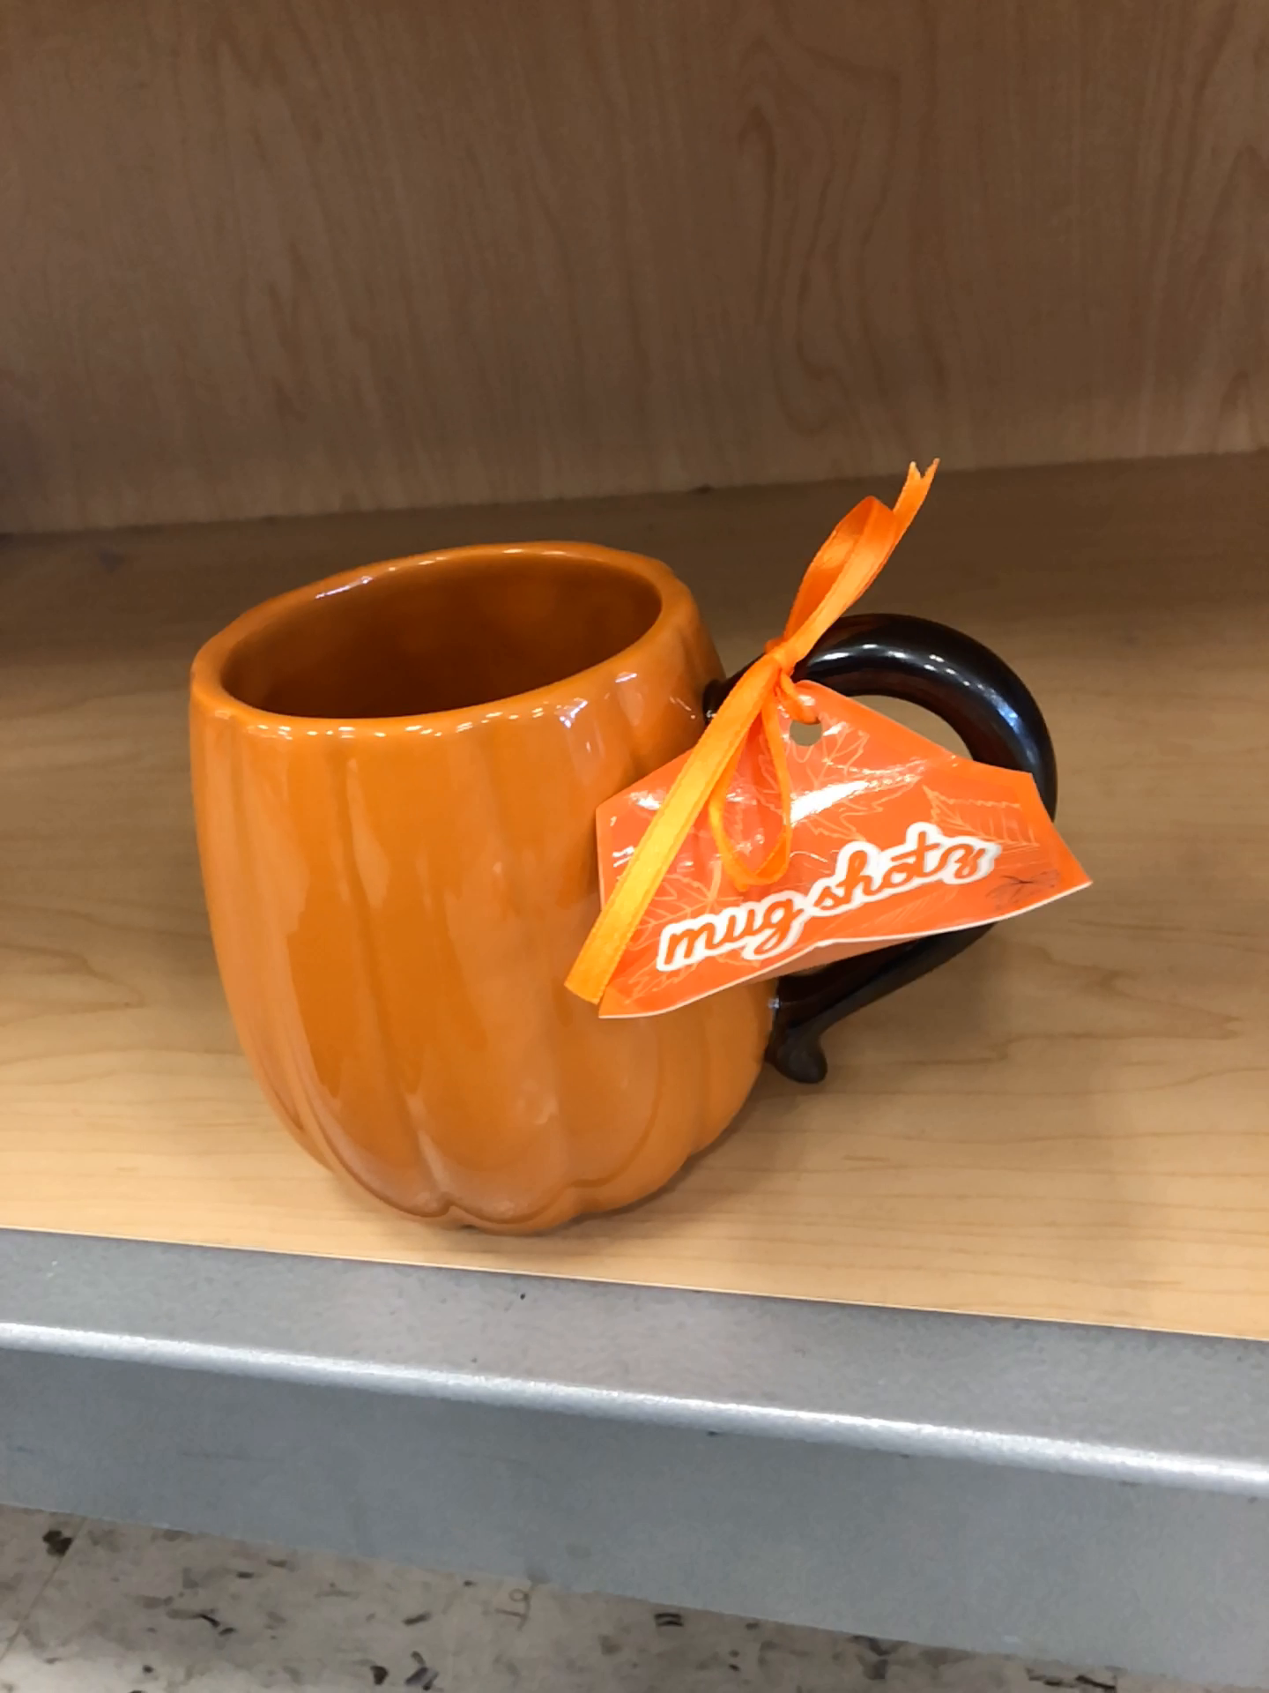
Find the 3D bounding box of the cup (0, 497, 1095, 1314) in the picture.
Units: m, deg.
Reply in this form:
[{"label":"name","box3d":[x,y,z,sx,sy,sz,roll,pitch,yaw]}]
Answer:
[{"label":"cup","box3d":[-0.002,0.006,0.226,0.140,0.089,0.081,-1,31,16]}]
